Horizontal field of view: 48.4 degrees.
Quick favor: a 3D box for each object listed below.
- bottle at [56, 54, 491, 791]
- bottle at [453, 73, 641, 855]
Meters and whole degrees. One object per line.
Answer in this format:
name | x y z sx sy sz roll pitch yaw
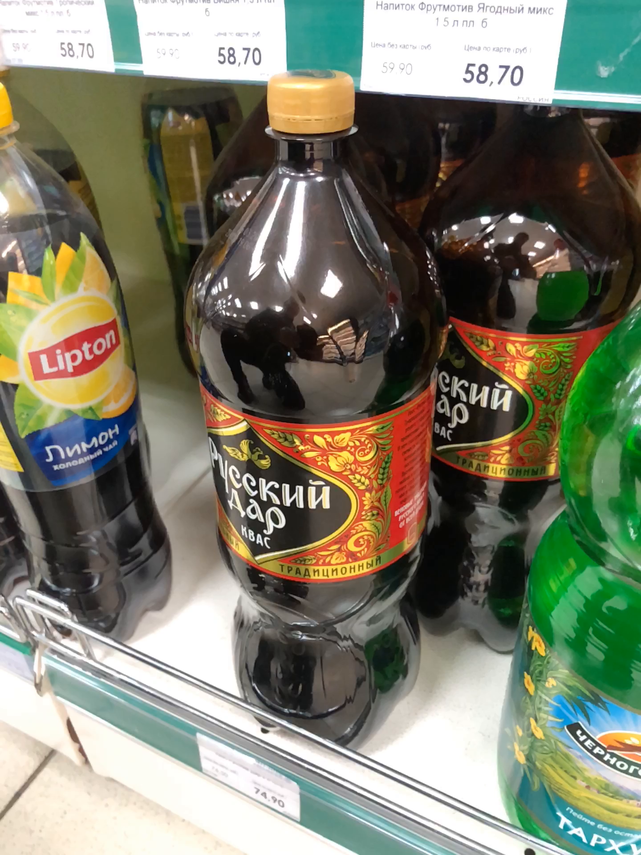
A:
bottle | -0.006 0.015 0.334 0.110 0.322 0.100 -2 35 1
bottle | 0.124 0.056 0.269 0.099 0.327 0.085 18 40 26
